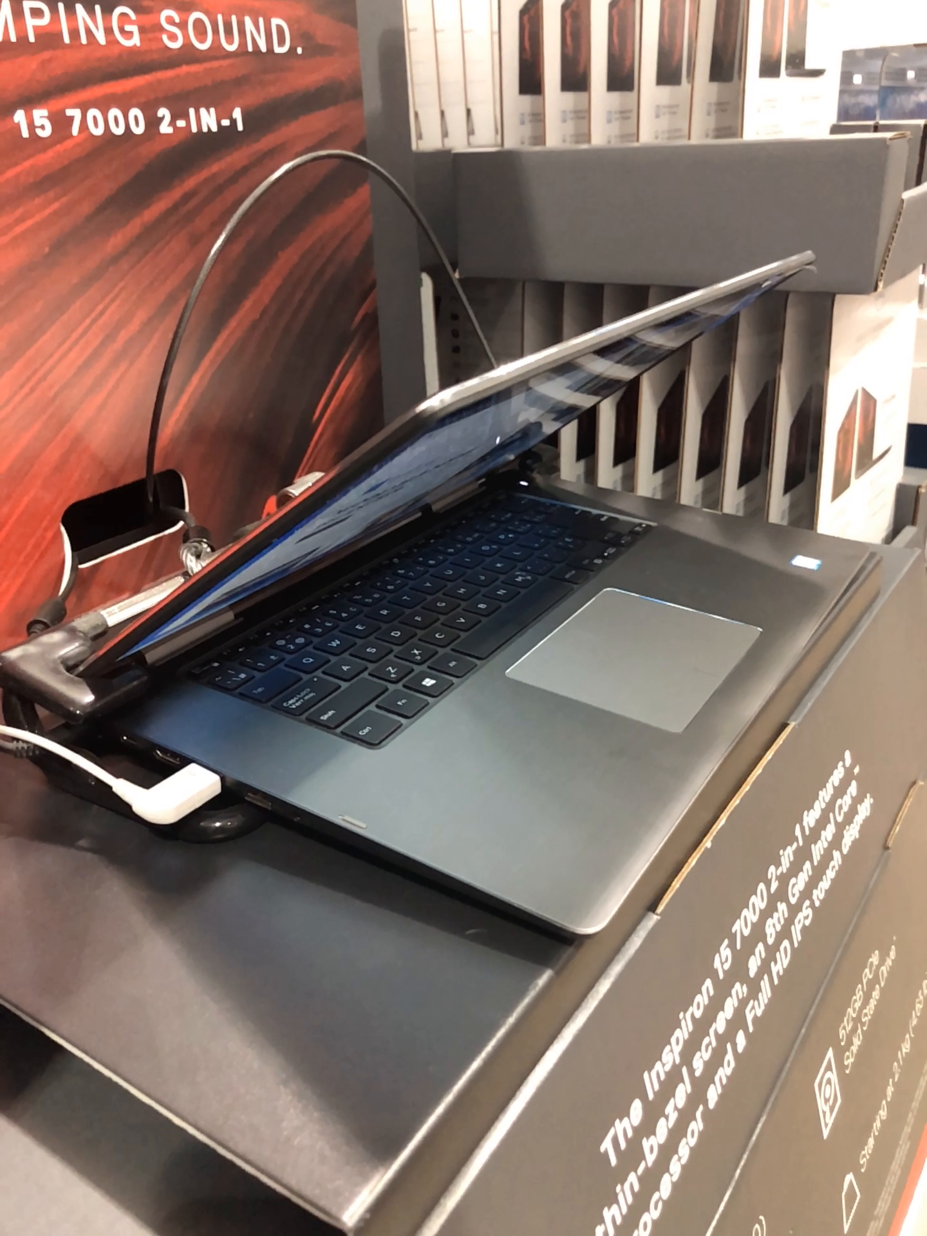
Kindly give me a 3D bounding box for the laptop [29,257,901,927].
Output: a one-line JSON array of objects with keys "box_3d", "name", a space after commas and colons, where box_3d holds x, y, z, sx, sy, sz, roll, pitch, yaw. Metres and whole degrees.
[{"box_3d": [0.040, -0.063, 0.465, 0.212, 0.137, 0.356, 15, 30, 29], "name": "laptop"}]
